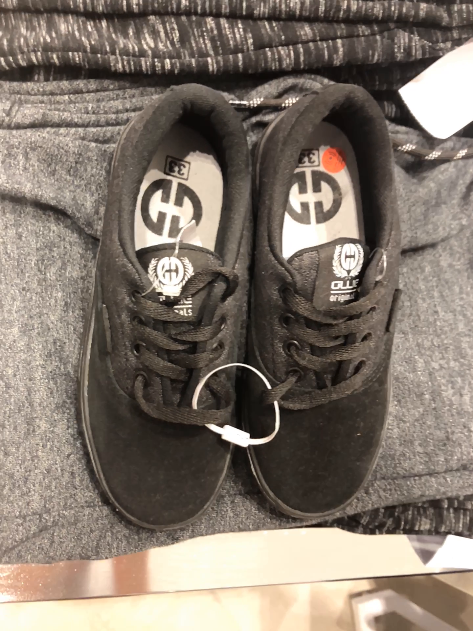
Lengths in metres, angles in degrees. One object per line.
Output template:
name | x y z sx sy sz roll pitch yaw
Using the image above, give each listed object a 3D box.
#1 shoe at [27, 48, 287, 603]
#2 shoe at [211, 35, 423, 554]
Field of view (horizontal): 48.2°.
shoe | -0.037 0.005 0.258 0.090 0.080 0.220 5 85 -13
shoe | 0.038 -0.010 0.293 0.090 0.080 0.240 1 86 -14
